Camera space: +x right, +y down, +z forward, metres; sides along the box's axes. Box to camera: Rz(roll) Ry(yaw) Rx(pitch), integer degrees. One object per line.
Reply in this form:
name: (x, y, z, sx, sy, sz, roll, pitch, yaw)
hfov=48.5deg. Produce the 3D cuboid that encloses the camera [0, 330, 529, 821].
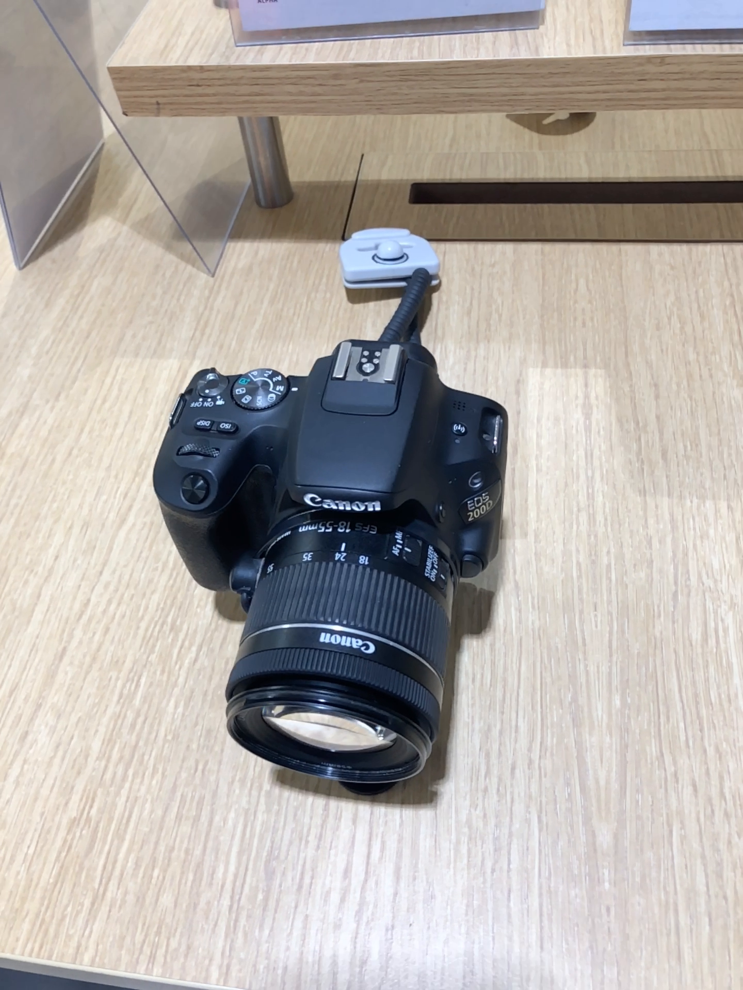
camera: (-0.022, 0.021, 0.252, 0.130, 0.080, 0.115, 3, 53, 10)
